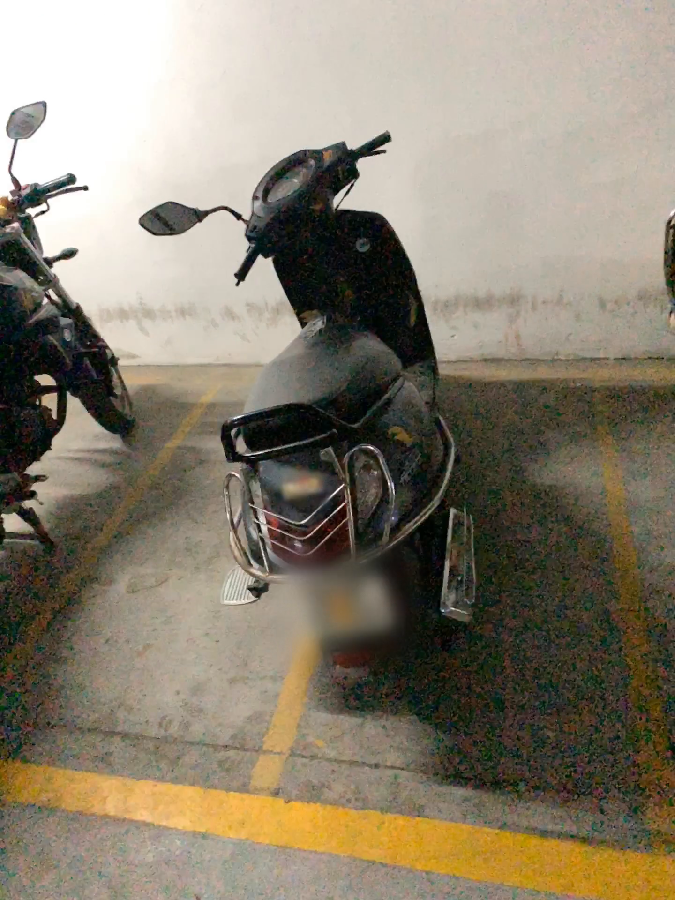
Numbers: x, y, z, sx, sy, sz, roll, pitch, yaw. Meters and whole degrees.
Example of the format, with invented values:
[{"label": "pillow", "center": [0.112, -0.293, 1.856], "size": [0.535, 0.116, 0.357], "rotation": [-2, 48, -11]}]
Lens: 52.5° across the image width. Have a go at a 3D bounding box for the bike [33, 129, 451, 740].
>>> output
[{"label": "bike", "center": [-0.075, -0.174, 2.117], "size": [0.652, 1.239, 1.539], "rotation": [-5, 32, 6]}]
